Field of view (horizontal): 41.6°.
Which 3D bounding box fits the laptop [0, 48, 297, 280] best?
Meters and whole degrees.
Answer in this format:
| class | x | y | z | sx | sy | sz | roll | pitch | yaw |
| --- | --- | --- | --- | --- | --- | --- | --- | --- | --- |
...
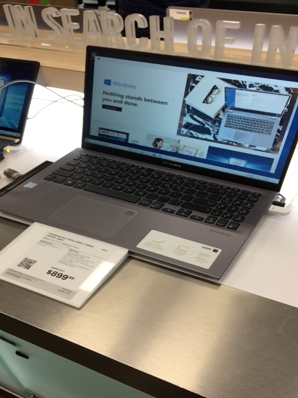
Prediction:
| class | x | y | z | sx | sy | sz | roll | pitch | yaw |
| --- | --- | --- | --- | --- | --- | --- | --- | --- | --- |
| laptop | -0.008 | -0.064 | 0.490 | 0.308 | 0.153 | 0.225 | 18 | 44 | 21 |
